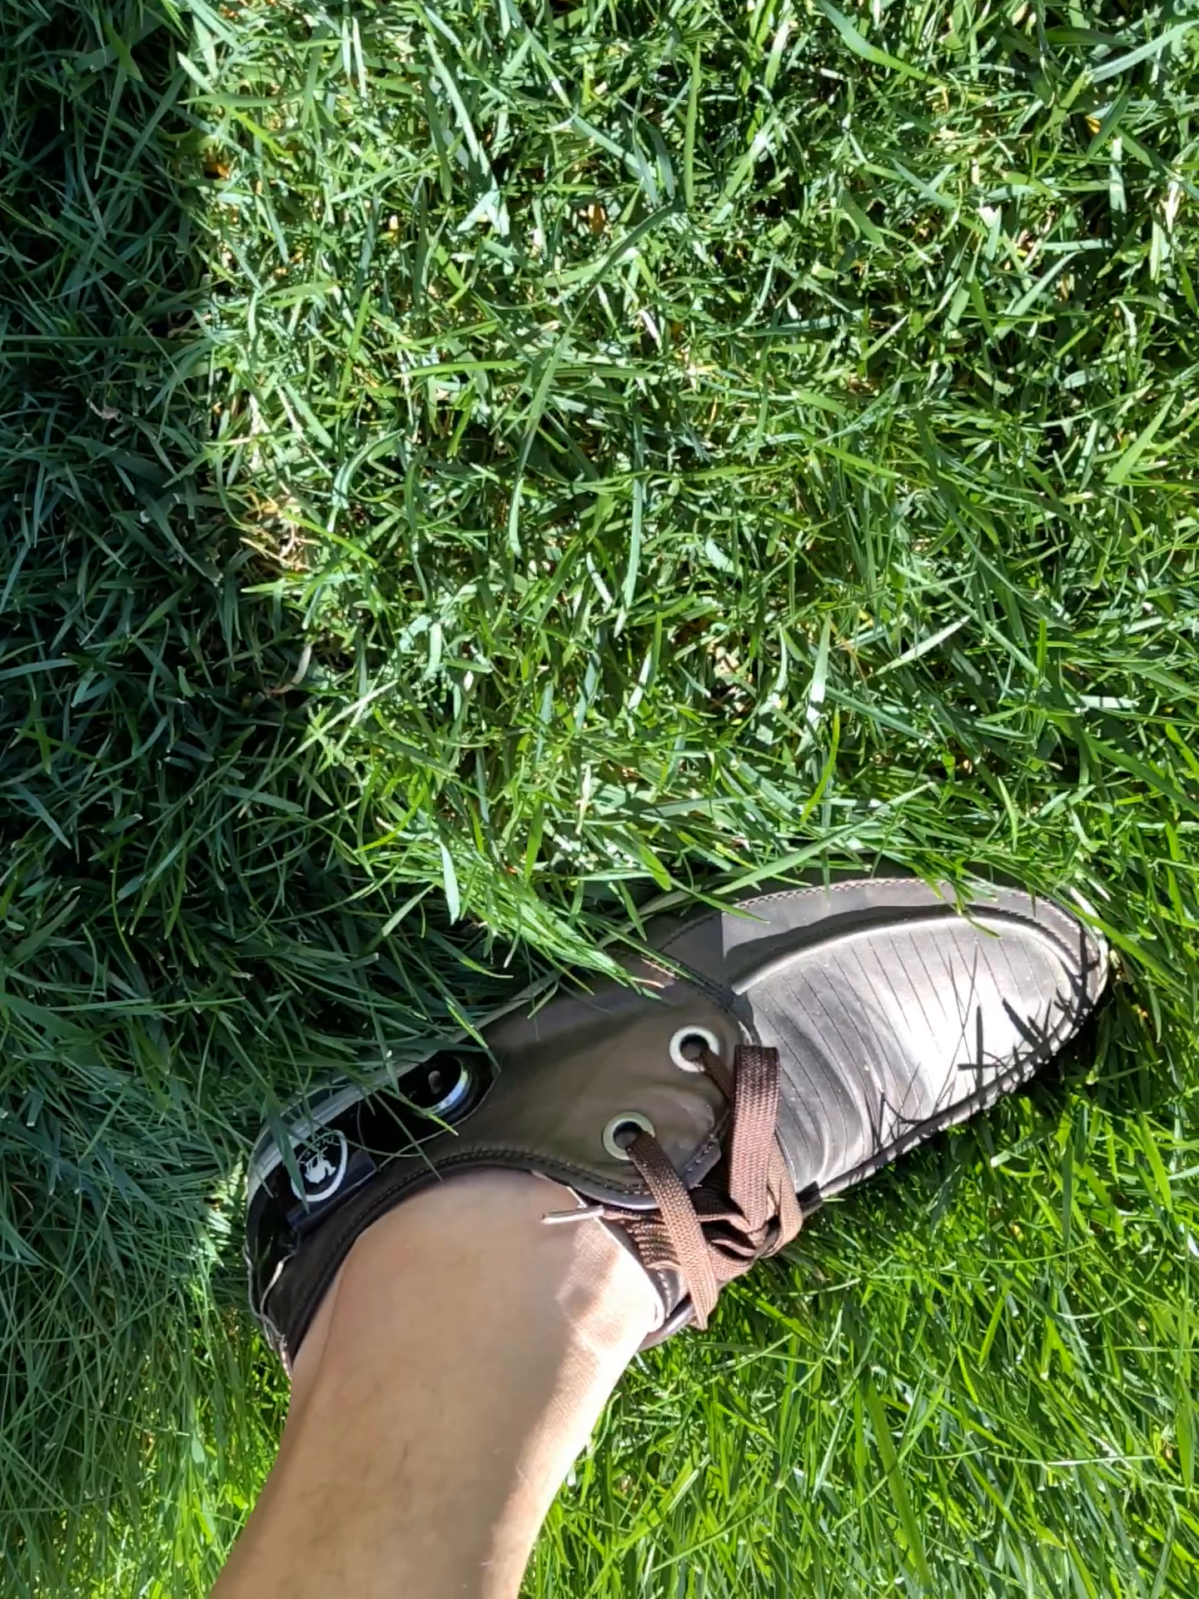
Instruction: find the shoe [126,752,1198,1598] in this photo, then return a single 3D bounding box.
[{"bbox_3d":[0.030,0.102,0.382,0.280,0.093,0.112,-22,109,2],"label":"shoe"}]
